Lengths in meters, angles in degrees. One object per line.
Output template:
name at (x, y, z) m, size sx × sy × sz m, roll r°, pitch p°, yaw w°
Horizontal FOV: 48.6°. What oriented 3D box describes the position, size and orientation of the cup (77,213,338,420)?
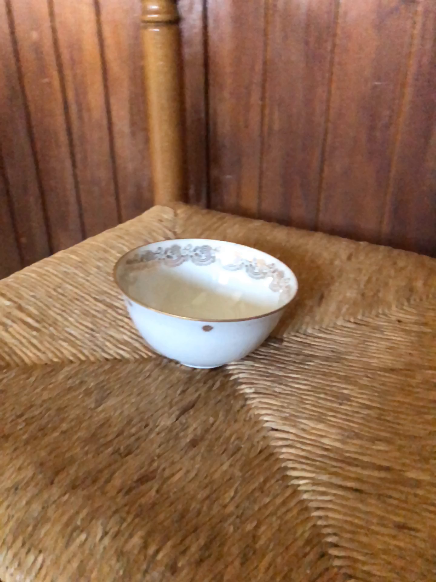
cup at (0.000, 0.003, 0.311) m, size 0.110 × 0.050 × 0.131 m, roll 17°, pitch 33°, yaw 25°
